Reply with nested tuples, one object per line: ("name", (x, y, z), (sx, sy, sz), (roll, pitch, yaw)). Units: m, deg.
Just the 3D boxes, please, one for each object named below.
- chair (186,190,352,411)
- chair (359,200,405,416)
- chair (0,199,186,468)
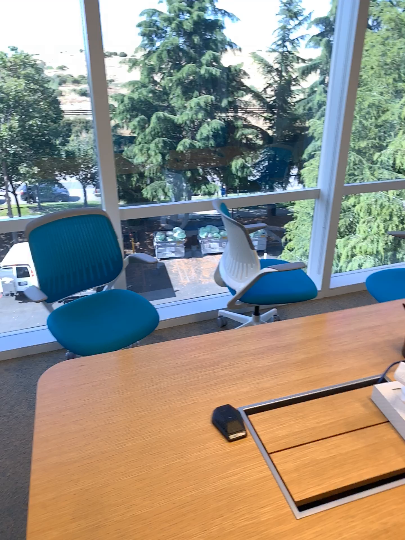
("chair", (0.324, 0.136, 2.440), (0.640, 1.014, 0.654), (-10, 27, -20))
("chair", (1.460, 0.210, 2.470), (0.630, 1.094, 0.543), (-6, 26, -12))
("chair", (-0.644, 0.290, 2.460), (0.730, 1.134, 0.875), (-15, 29, -29))
